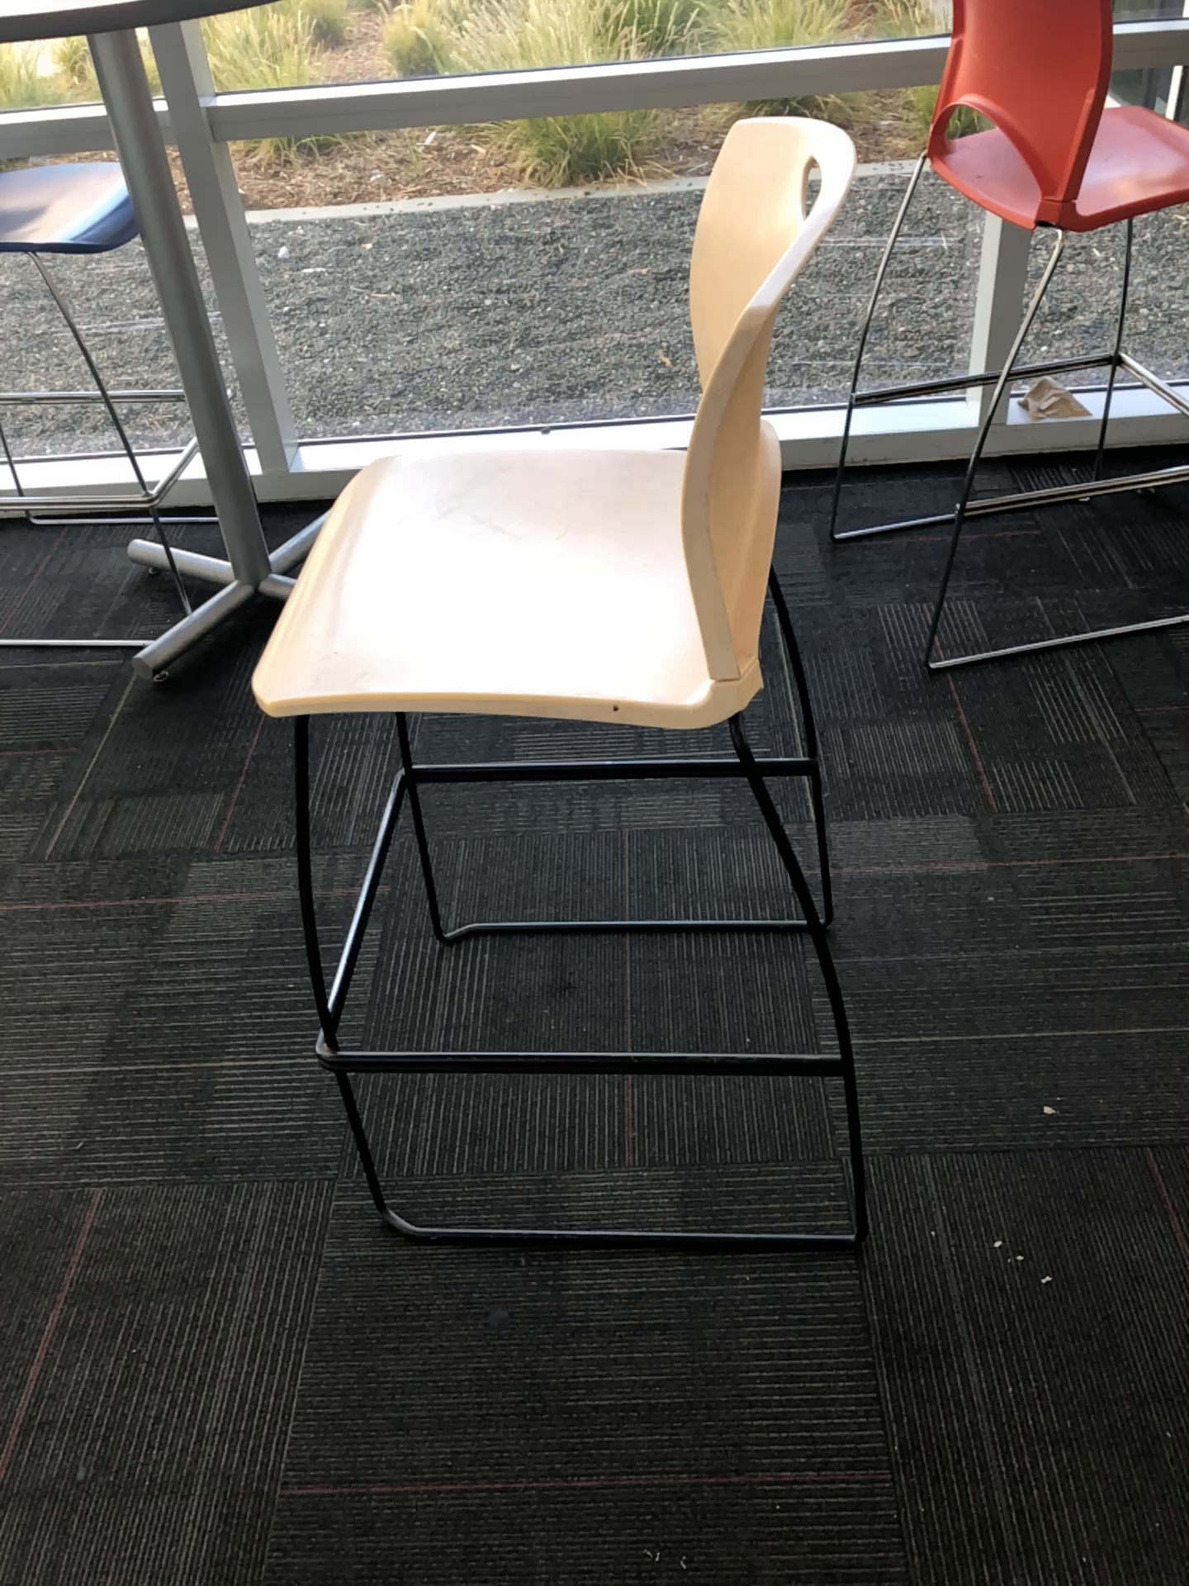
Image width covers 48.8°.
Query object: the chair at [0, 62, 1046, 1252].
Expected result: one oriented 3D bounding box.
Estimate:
[{"bbox_3d":[-0.051,-0.082,1.308,0.720,0.995,0.583,-2,39,5],"label":"chair"}]
